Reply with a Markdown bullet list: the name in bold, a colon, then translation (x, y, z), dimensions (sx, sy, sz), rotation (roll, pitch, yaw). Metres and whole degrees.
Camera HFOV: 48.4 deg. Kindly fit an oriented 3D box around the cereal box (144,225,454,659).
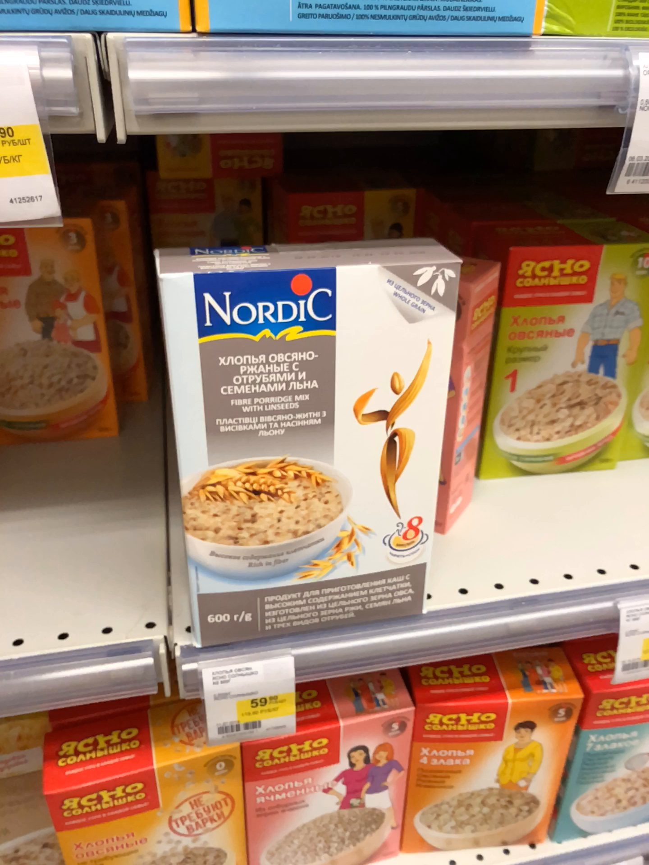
- **cereal box**: translation (-0.014, 0.011, 0.397), dimensions (0.140, 0.229, 0.050), rotation (-6, 29, -12)
